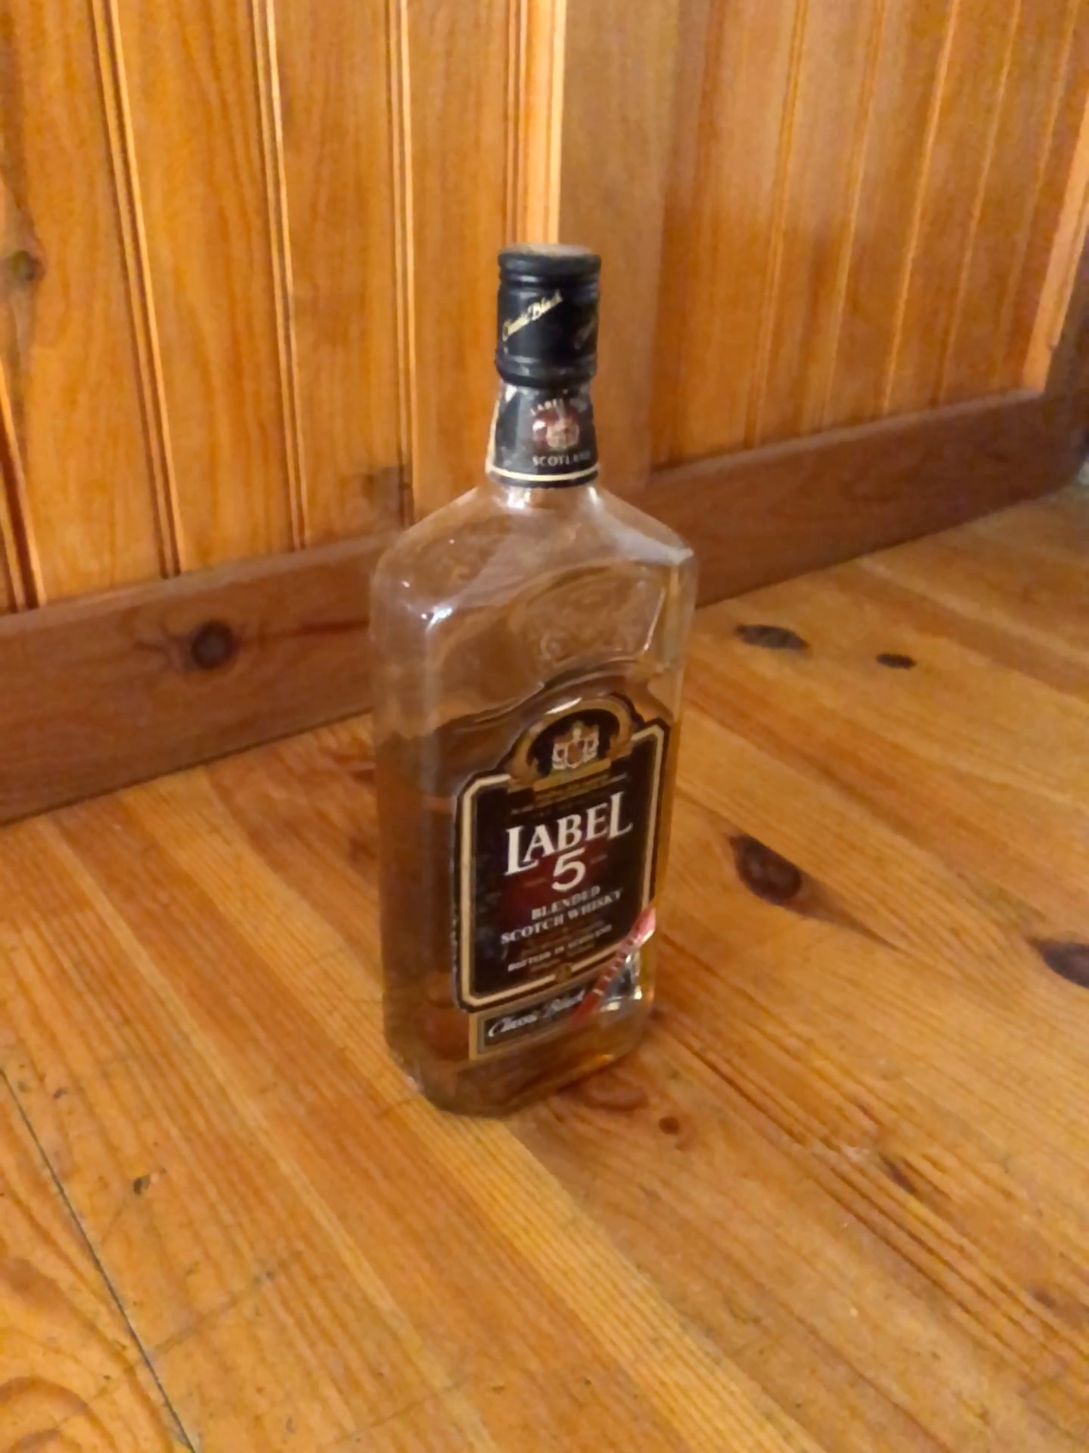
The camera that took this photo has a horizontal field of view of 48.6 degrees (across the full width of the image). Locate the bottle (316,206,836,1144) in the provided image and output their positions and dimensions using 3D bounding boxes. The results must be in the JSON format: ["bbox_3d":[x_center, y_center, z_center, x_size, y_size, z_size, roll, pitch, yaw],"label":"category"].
[{"bbox_3d":[0.003,-0.012,0.406,0.120,0.288,0.080,-16,35,-29],"label":"bottle"}]
